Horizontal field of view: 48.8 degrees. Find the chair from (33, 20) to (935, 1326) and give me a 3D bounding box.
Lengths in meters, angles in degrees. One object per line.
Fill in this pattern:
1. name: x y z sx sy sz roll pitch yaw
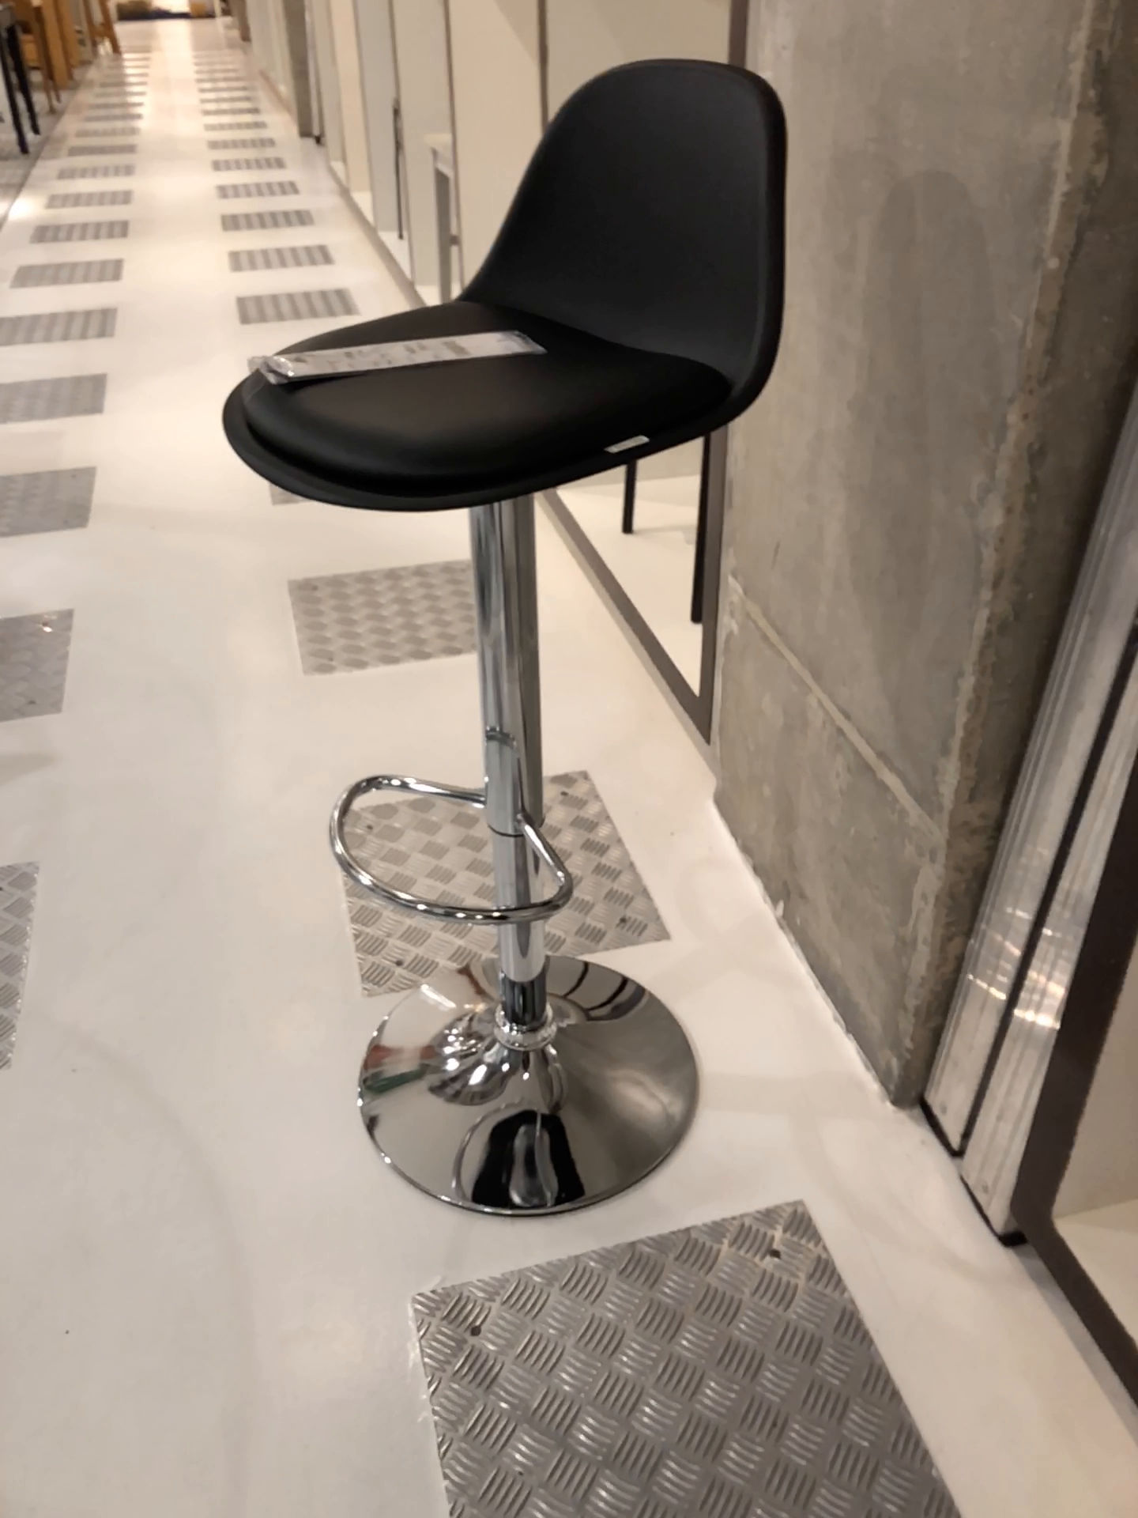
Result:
1. chair: -0.066 -0.072 1.151 0.472 1.011 0.432 -22 39 -29
